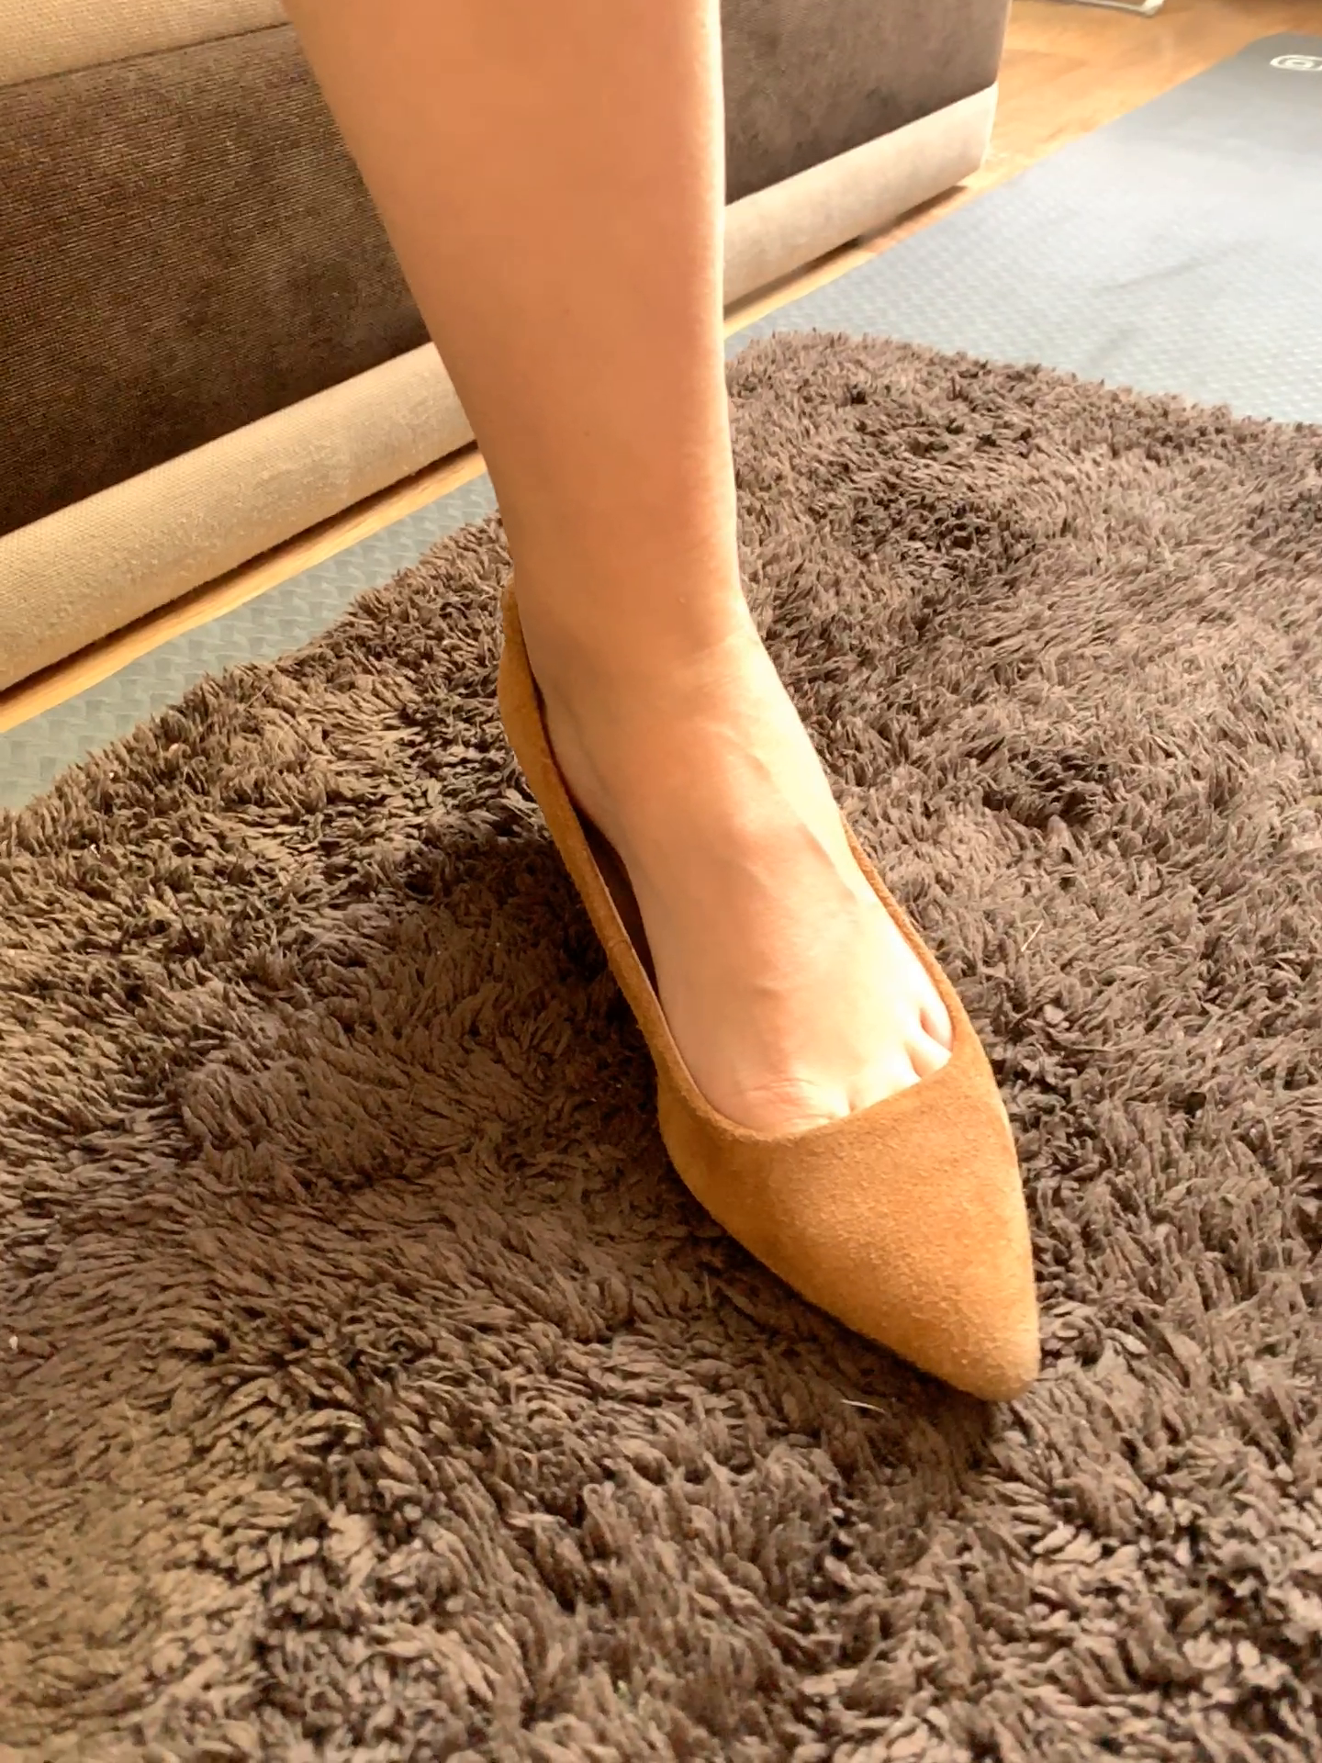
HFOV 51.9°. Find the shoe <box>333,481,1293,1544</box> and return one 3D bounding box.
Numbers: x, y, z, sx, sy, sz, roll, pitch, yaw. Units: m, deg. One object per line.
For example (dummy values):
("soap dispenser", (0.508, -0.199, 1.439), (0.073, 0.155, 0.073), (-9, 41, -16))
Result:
("shoe", (0.008, 0.002, 0.319), (0.090, 0.080, 0.251), (-18, 45, -19))
